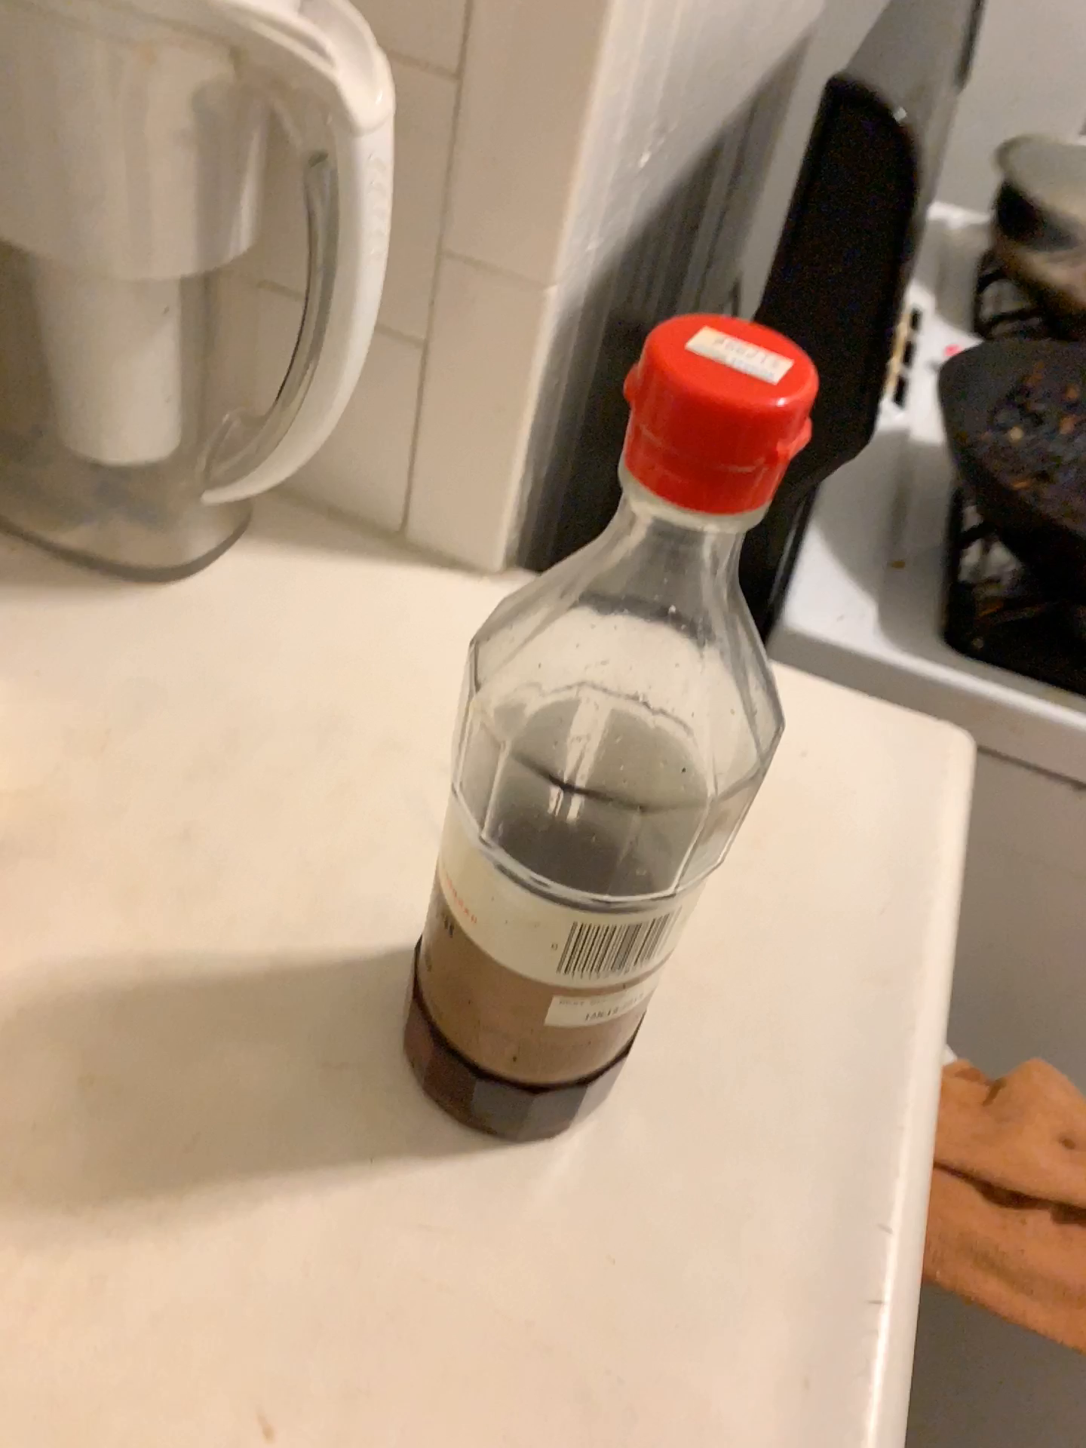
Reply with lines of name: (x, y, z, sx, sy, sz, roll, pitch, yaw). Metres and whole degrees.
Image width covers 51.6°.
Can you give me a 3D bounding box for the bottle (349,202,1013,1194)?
bottle: (0.014, 0.020, 0.298, 0.090, 0.259, 0.090, 7, 46, -8)
